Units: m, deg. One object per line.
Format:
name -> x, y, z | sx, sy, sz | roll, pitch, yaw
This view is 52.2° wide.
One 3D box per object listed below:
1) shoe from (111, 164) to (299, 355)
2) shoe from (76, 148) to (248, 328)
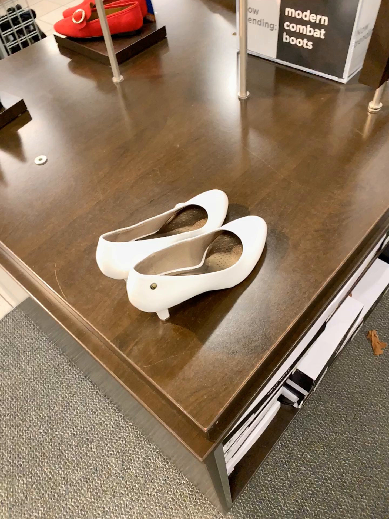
shoe -> 0.026, -0.006, 0.563 | 0.260, 0.110, 0.090 | -40, 59, -22
shoe -> -0.033, -0.039, 0.604 | 0.090, 0.110, 0.260 | 33, 63, 27
